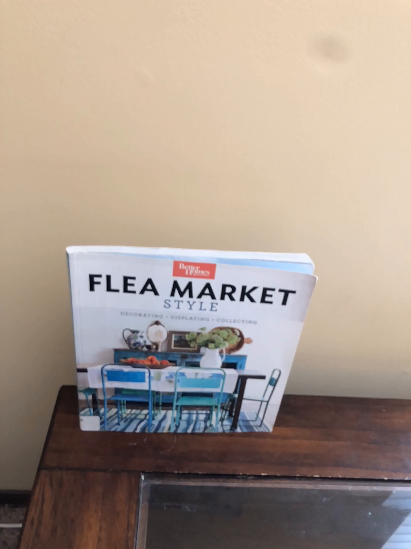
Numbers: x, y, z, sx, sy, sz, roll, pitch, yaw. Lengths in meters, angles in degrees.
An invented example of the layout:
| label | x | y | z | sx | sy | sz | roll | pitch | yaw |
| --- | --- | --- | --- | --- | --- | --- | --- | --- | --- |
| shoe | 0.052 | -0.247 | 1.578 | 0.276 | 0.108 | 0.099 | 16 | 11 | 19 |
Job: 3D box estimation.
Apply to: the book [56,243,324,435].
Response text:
| label | x | y | z | sx | sy | sz | roll | pitch | yaw |
| --- | --- | --- | --- | --- | --- | --- | --- | --- | --- |
| book | -0.022 | 0.082 | 0.481 | 0.233 | 0.239 | 0.032 | 2 | 36 | -7 |
